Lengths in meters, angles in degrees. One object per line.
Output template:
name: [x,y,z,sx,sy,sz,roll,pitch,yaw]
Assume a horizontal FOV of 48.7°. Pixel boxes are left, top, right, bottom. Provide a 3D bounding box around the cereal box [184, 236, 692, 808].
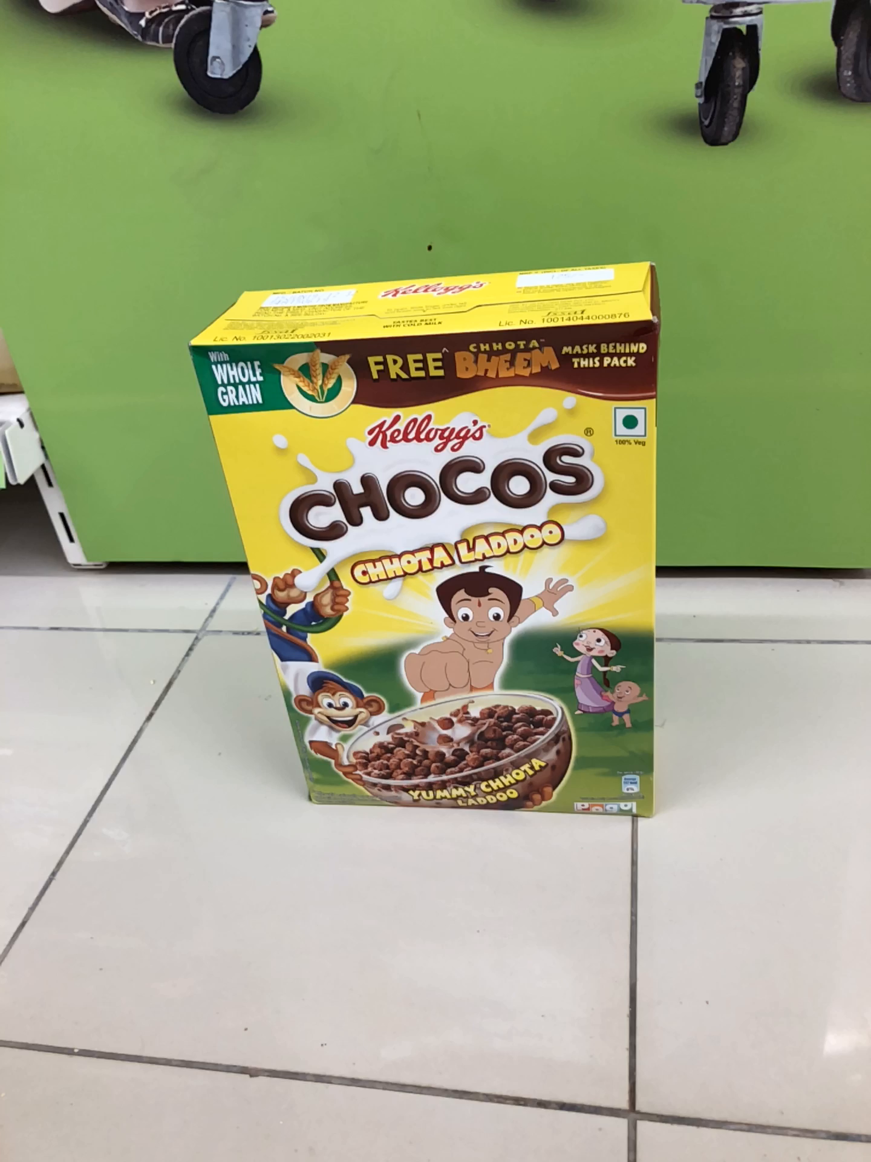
cereal box: [0.015,-0.014,0.453,0.190,0.258,0.070,0,34,11]
